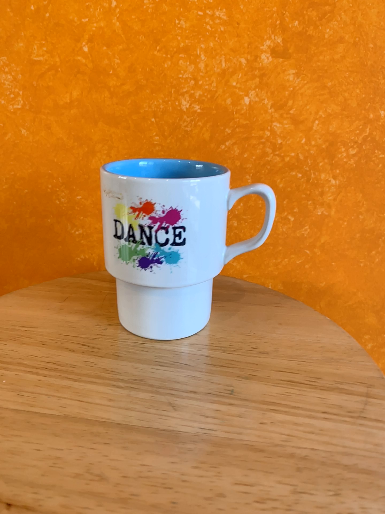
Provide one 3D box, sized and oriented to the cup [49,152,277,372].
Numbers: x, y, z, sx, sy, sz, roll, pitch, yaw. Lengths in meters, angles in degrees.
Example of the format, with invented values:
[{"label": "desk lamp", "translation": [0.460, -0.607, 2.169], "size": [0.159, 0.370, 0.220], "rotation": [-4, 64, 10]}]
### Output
[{"label": "cup", "translation": [-0.015, -0.005, 0.267], "size": [0.120, 0.109, 0.080], "rotation": [8, 21, 15]}]
